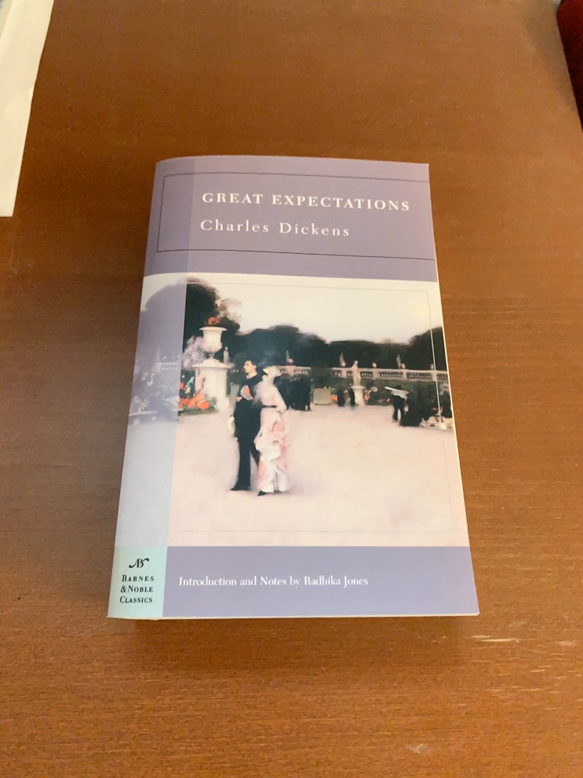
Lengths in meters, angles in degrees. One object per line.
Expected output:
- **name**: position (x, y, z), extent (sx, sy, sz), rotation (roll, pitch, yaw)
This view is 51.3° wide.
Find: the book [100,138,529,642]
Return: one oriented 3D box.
- **book**: position (0.006, -0.007, 0.251), extent (0.140, 0.040, 0.201), rotation (1, 69, -5)
